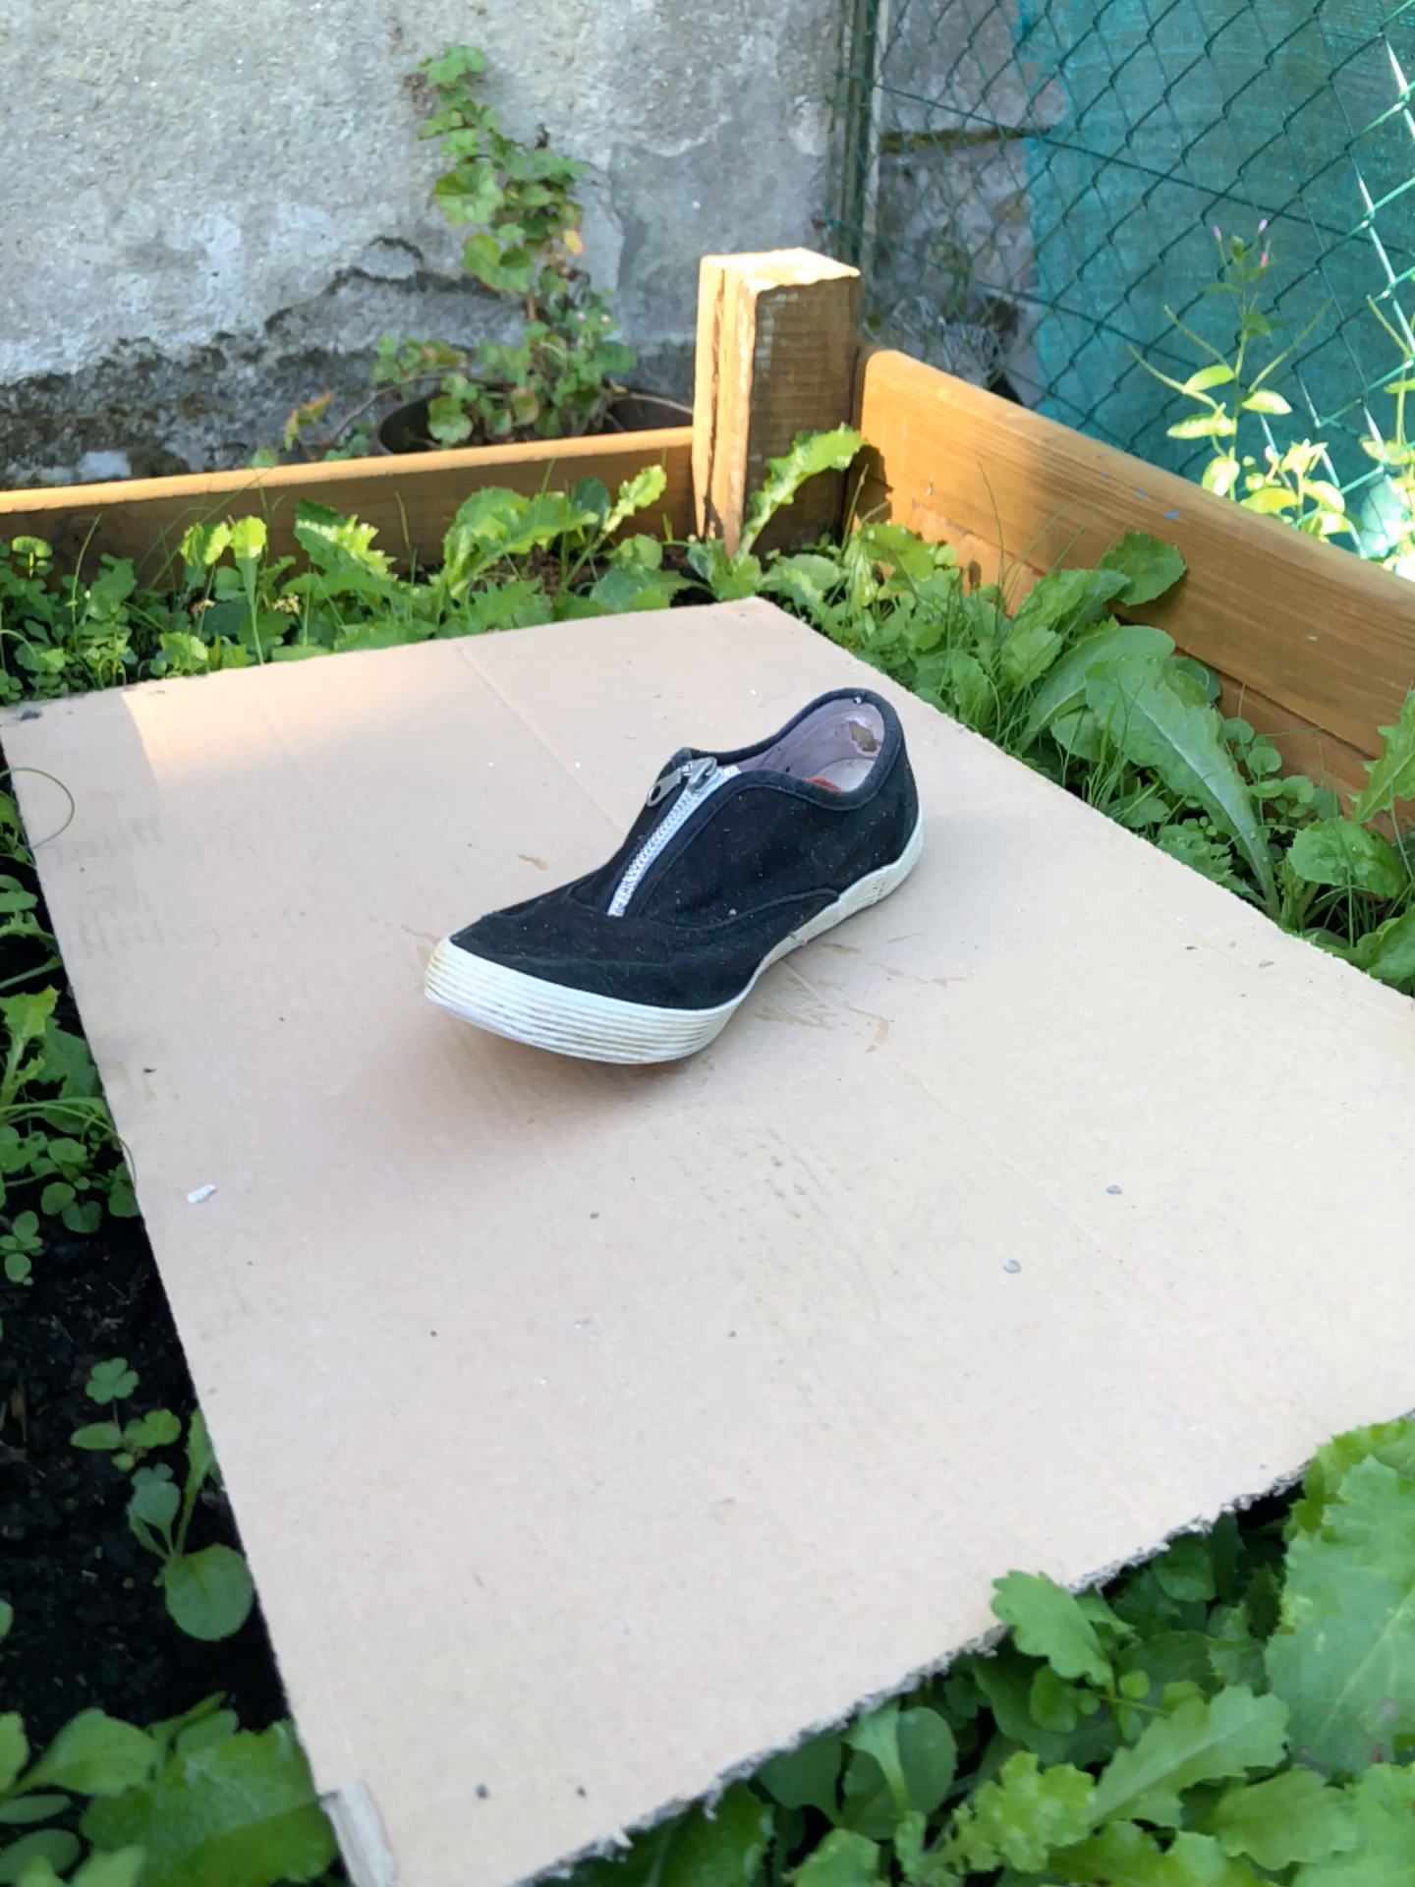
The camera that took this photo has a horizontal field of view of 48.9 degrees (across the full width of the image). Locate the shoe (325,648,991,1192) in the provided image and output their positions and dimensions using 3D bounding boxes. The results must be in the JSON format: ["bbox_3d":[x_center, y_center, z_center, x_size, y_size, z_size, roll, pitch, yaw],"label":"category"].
[{"bbox_3d":[-0.006,-0.023,0.560,0.100,0.070,0.241,24,40,31],"label":"shoe"}]
